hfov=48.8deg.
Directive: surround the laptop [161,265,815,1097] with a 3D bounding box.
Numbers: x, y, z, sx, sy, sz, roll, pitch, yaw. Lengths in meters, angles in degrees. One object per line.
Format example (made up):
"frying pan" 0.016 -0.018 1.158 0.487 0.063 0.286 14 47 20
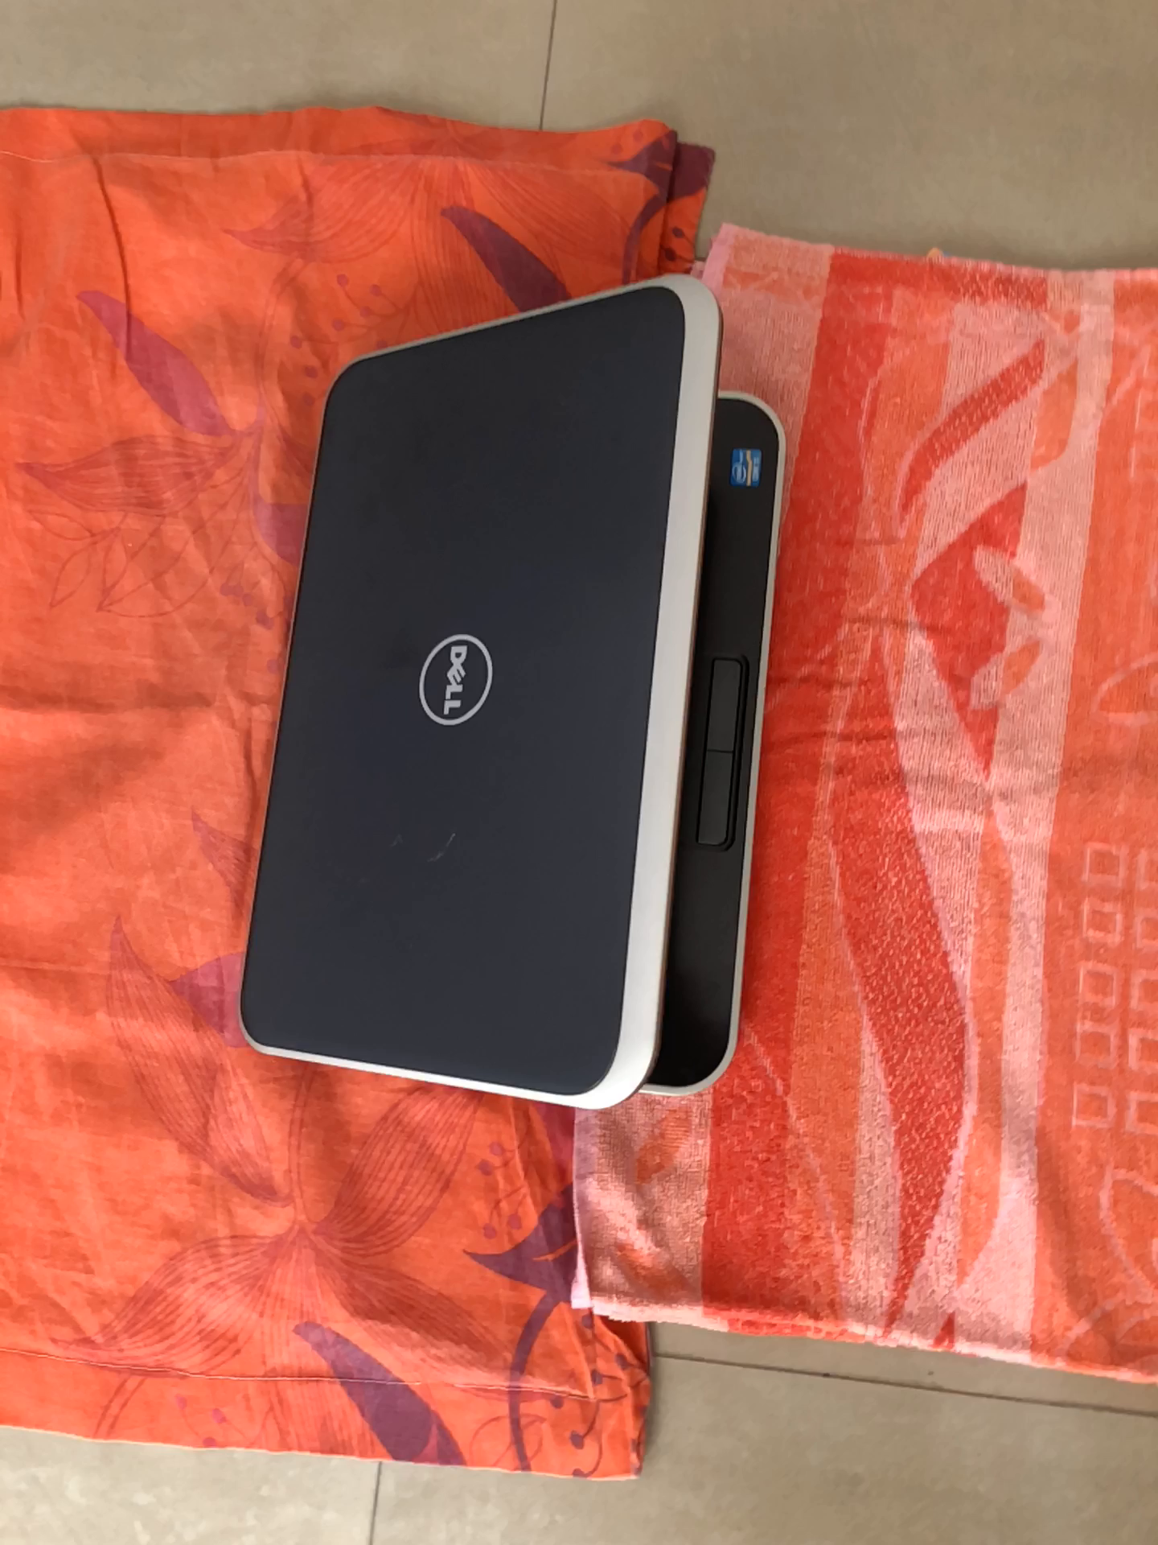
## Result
"laptop" -0.031 -0.043 0.602 0.241 0.129 0.345 5 80 7
